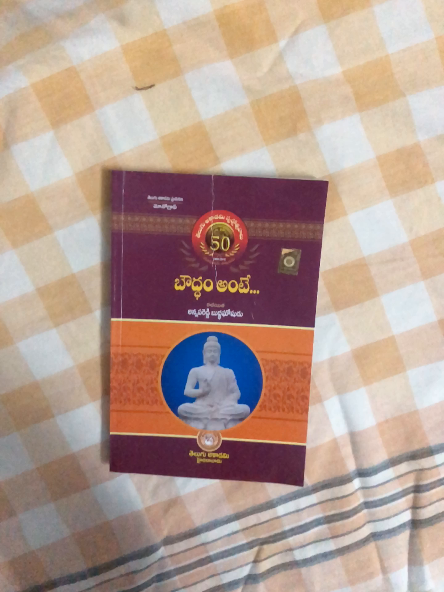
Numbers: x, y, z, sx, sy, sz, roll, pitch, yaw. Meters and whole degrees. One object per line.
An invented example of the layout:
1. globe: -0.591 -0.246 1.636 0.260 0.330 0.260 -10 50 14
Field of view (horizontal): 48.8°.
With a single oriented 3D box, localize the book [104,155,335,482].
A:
1. book: -0.006 0.023 0.372 0.160 0.020 0.240 3 100 -2
